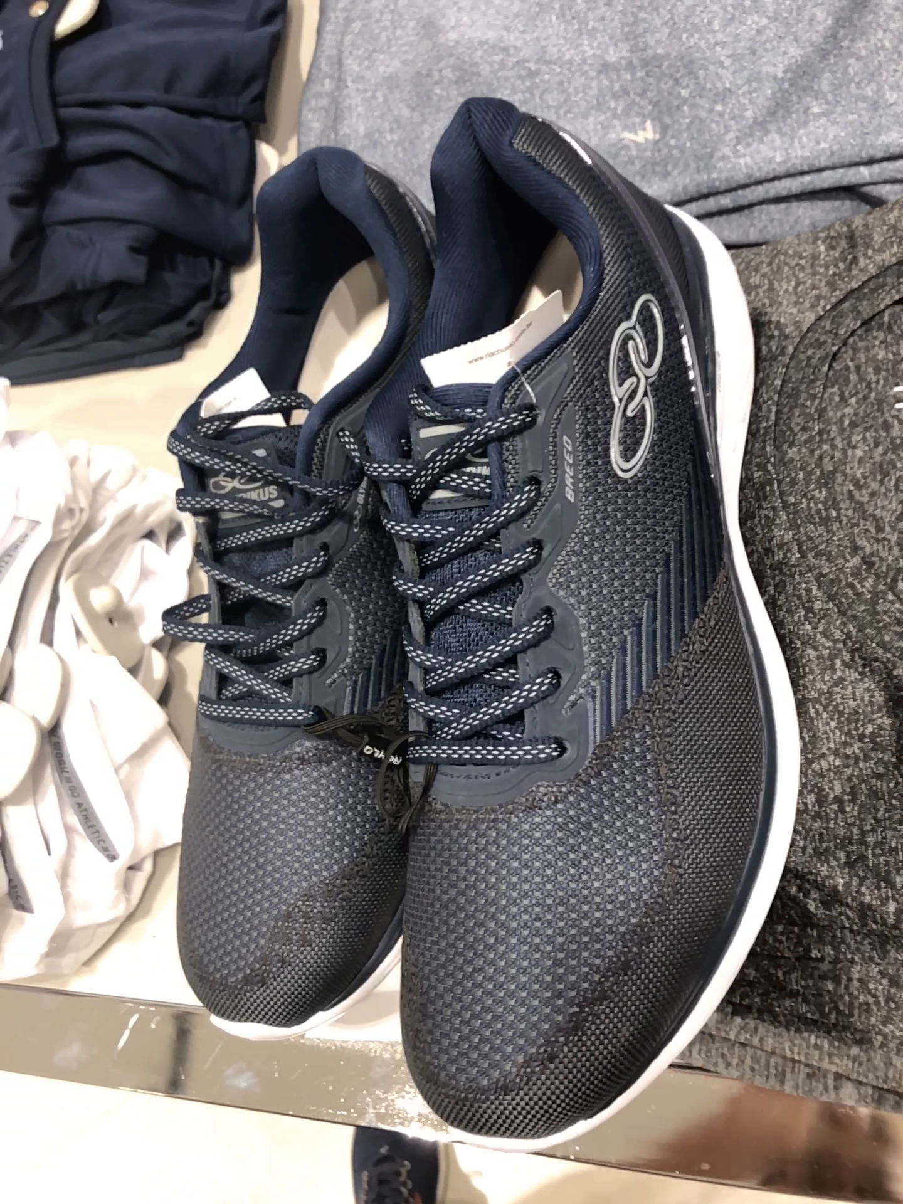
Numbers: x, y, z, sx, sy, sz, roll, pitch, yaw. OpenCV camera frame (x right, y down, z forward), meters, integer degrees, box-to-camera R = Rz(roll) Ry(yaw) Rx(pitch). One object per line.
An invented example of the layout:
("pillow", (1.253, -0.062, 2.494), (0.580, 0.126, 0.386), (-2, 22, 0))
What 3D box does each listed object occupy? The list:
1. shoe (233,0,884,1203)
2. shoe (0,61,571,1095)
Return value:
("shoe", (0.035, -0.001, 0.304), (0.120, 0.130, 0.290), (-11, 71, 41))
("shoe", (-0.049, -0.007, 0.357), (0.120, 0.130, 0.290), (0, 77, 27))
